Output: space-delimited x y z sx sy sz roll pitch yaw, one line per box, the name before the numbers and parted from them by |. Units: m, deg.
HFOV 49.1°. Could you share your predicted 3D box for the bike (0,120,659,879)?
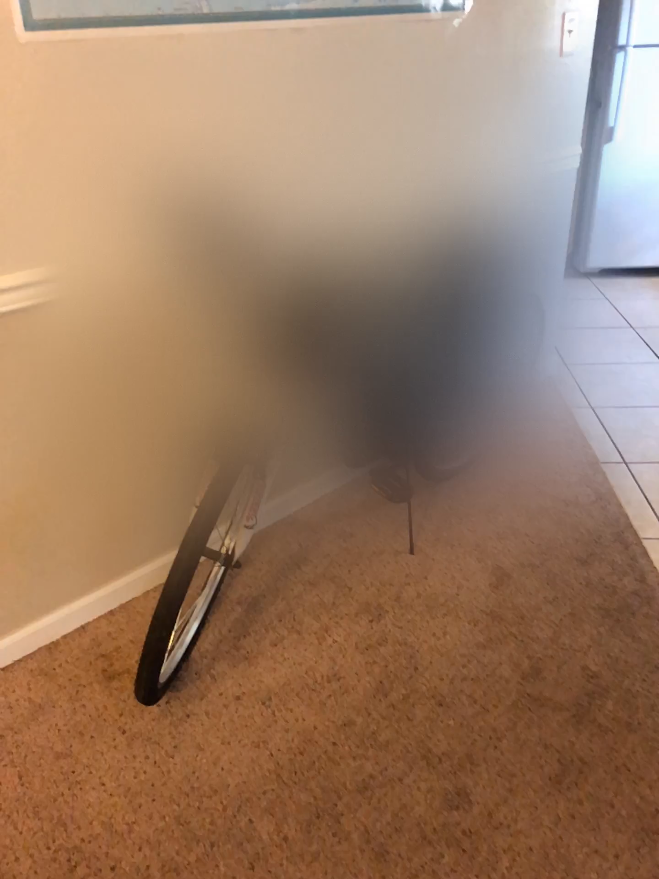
bike | 0.234 -0.085 1.963 0.679 1.177 1.873 21 38 34
